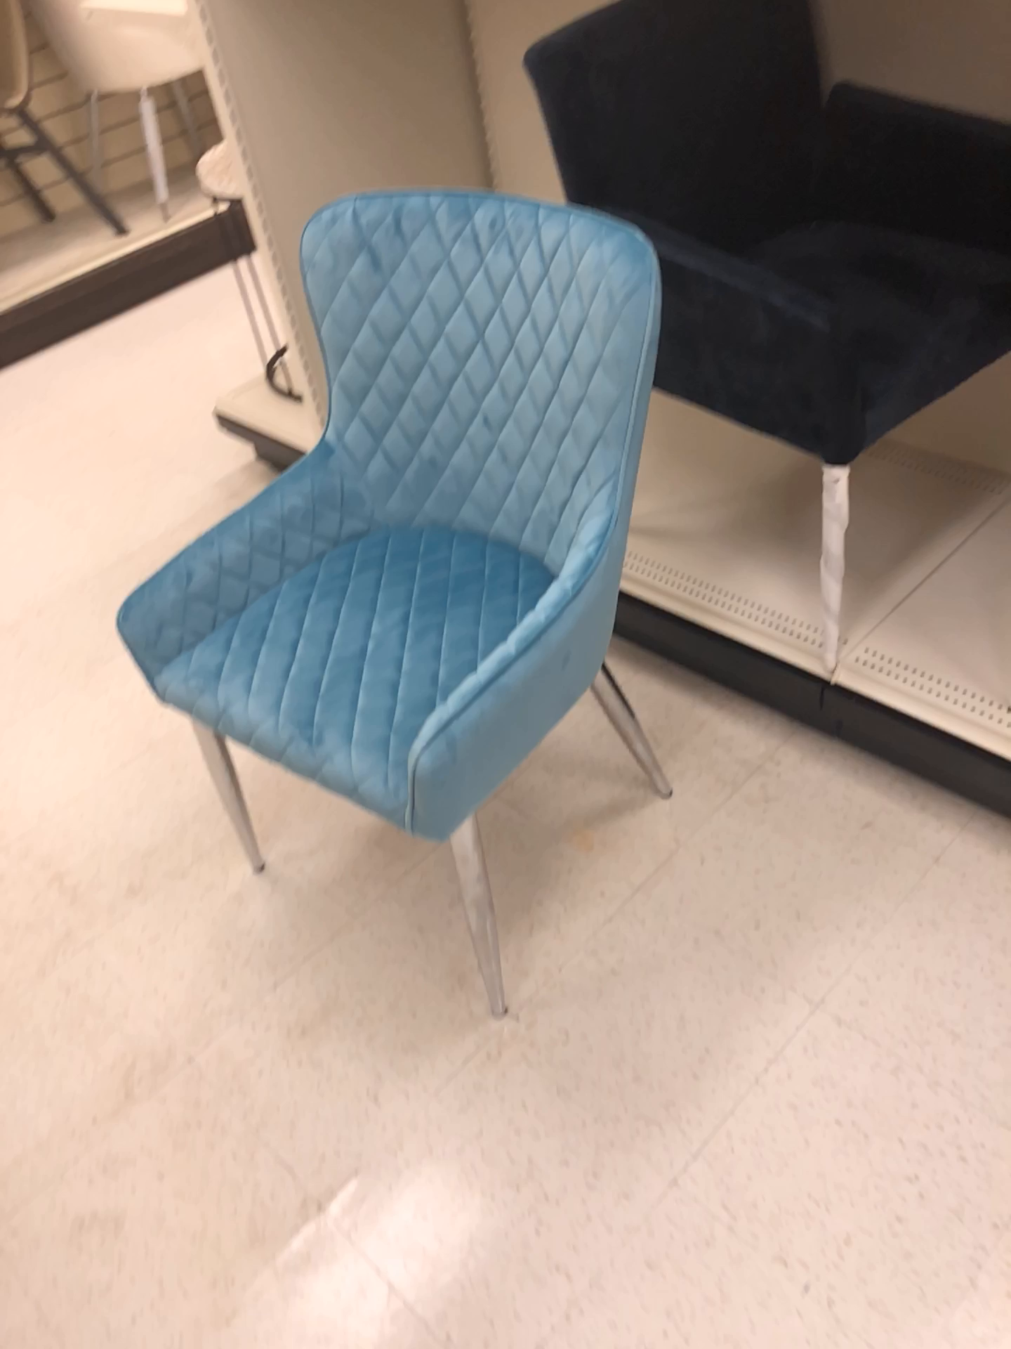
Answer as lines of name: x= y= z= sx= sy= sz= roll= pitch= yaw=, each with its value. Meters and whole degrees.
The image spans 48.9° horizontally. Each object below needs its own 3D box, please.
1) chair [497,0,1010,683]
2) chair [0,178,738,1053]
chair: x=0.445 y=-0.546 z=1.619 sx=0.560 sy=0.777 sz=0.582 roll=-33 pitch=44 yaw=-23
chair: x=-0.096 y=-0.091 z=1.487 sx=0.562 sy=0.870 sz=0.584 roll=22 pitch=51 yaw=34
